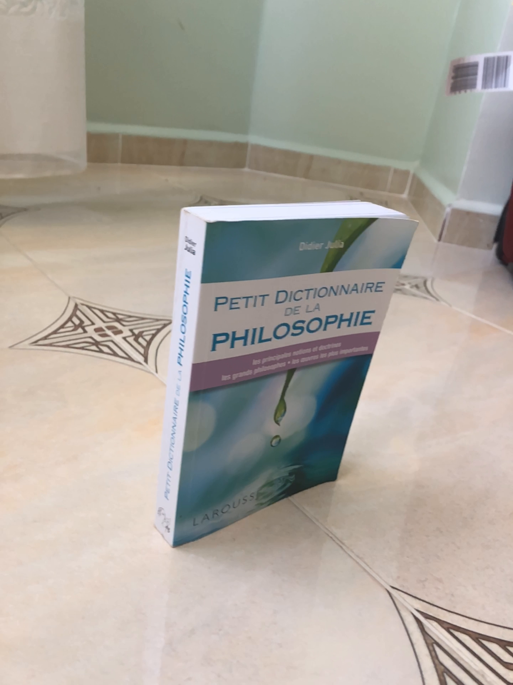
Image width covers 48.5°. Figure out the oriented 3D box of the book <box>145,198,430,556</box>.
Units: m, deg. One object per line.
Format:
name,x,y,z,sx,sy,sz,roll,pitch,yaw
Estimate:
book,0.015,0.016,0.323,0.140,0.185,0.034,-11,33,-36
